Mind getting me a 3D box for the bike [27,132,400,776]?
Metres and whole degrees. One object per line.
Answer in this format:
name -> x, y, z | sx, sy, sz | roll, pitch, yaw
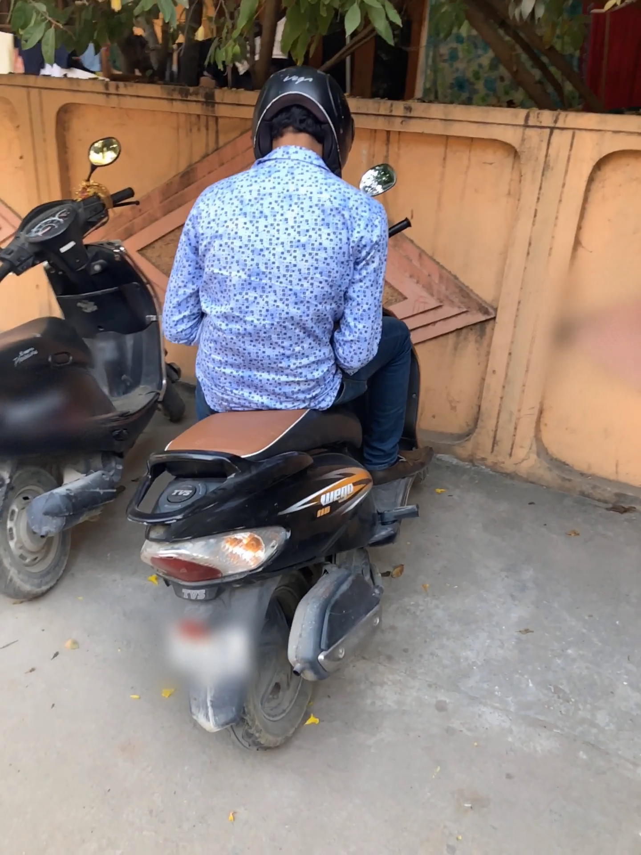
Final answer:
bike -> -0.175, -0.110, 1.978 | 0.628, 1.038, 1.327 | 7, 31, 7
